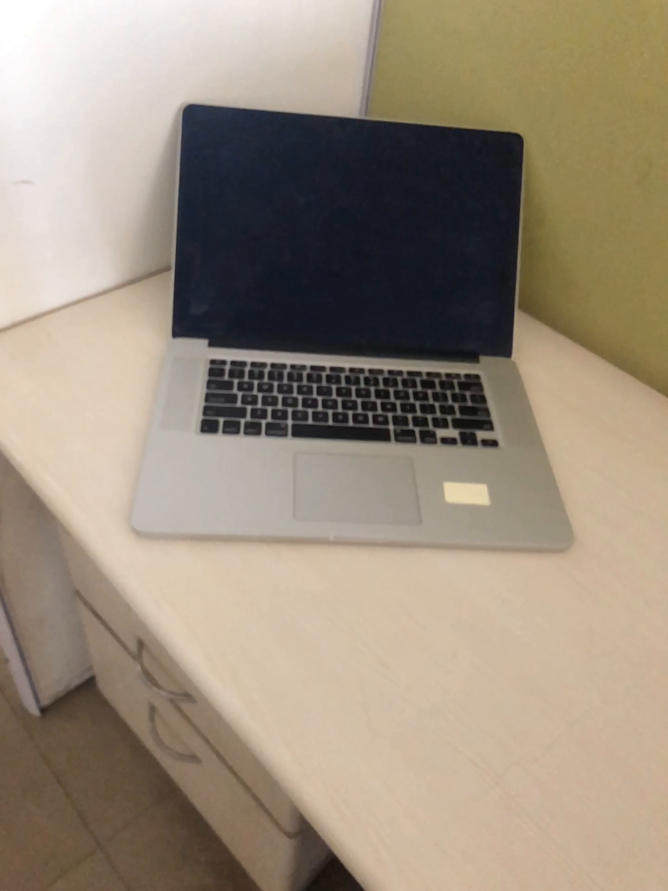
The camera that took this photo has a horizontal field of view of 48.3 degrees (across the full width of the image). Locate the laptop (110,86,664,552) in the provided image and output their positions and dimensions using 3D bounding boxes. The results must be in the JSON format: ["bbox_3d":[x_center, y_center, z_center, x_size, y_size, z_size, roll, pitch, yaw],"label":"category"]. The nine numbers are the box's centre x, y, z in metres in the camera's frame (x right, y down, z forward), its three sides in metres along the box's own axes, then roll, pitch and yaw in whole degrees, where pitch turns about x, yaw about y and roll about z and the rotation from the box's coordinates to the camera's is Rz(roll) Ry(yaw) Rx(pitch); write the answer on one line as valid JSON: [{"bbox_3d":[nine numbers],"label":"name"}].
[{"bbox_3d":[0.021,-0.131,0.652,0.345,0.163,0.405,3,46,-6],"label":"laptop"}]
